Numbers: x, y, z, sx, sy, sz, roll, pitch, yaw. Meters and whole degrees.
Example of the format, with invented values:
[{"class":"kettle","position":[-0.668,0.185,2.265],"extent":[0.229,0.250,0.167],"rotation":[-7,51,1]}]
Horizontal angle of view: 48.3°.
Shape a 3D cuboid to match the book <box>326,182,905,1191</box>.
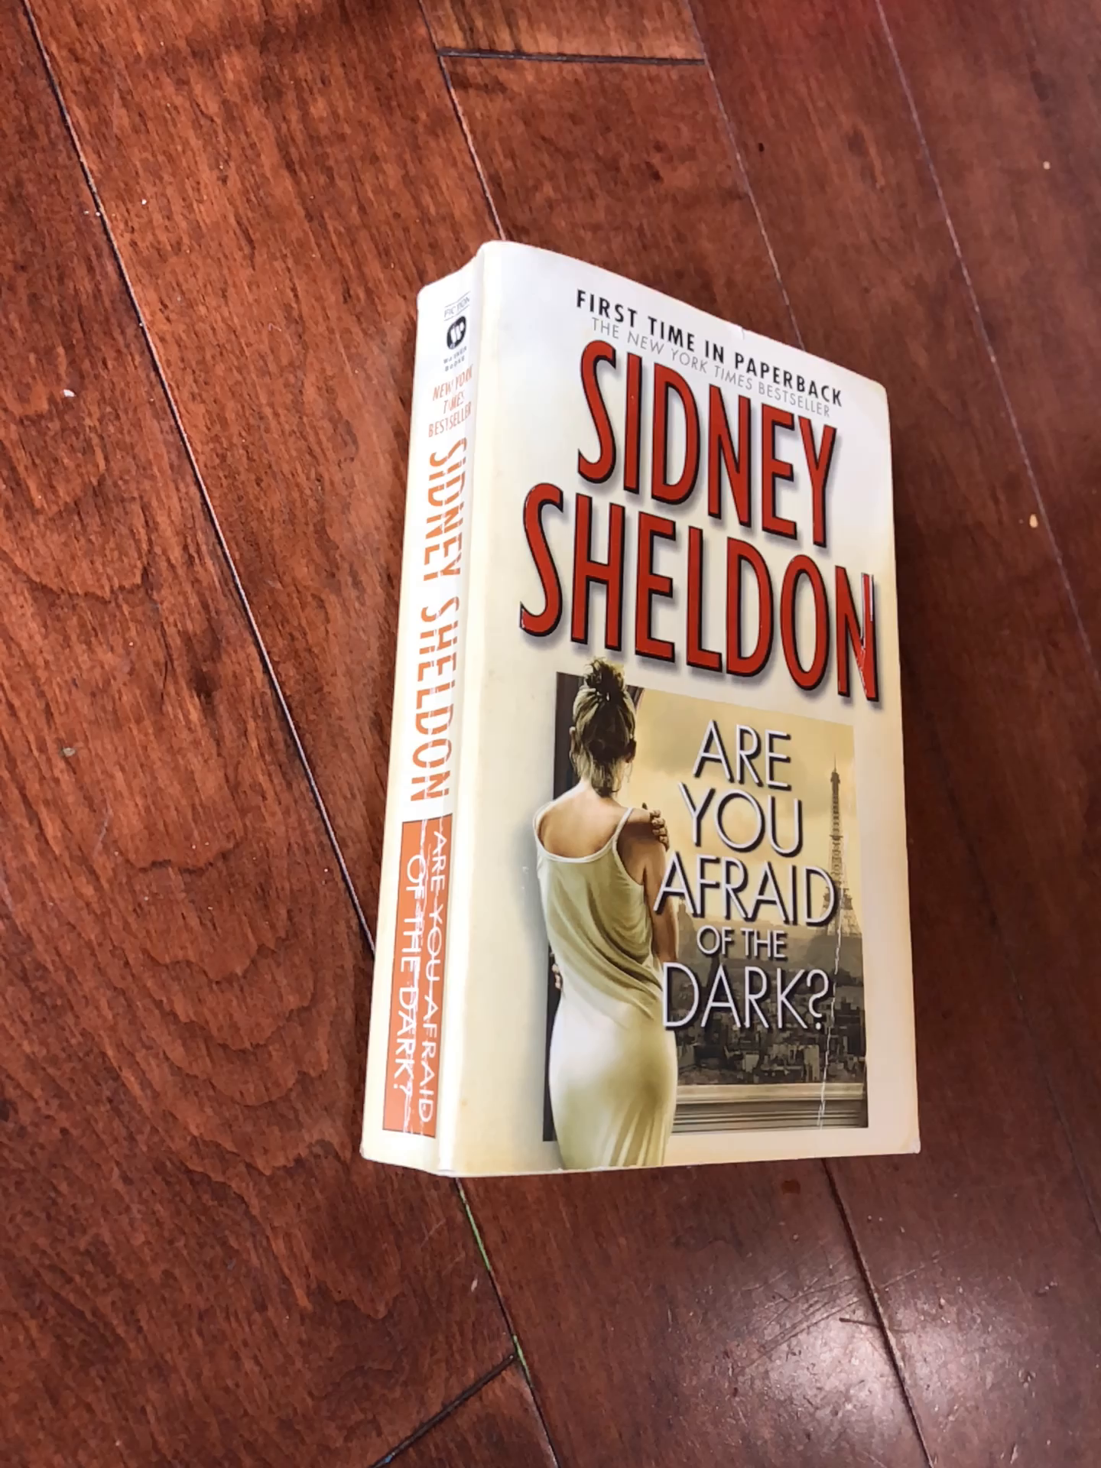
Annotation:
[{"class":"book","position":[0.018,-0.005,0.256],"extent":[0.108,0.040,0.180],"rotation":[10,75,-31]}]
